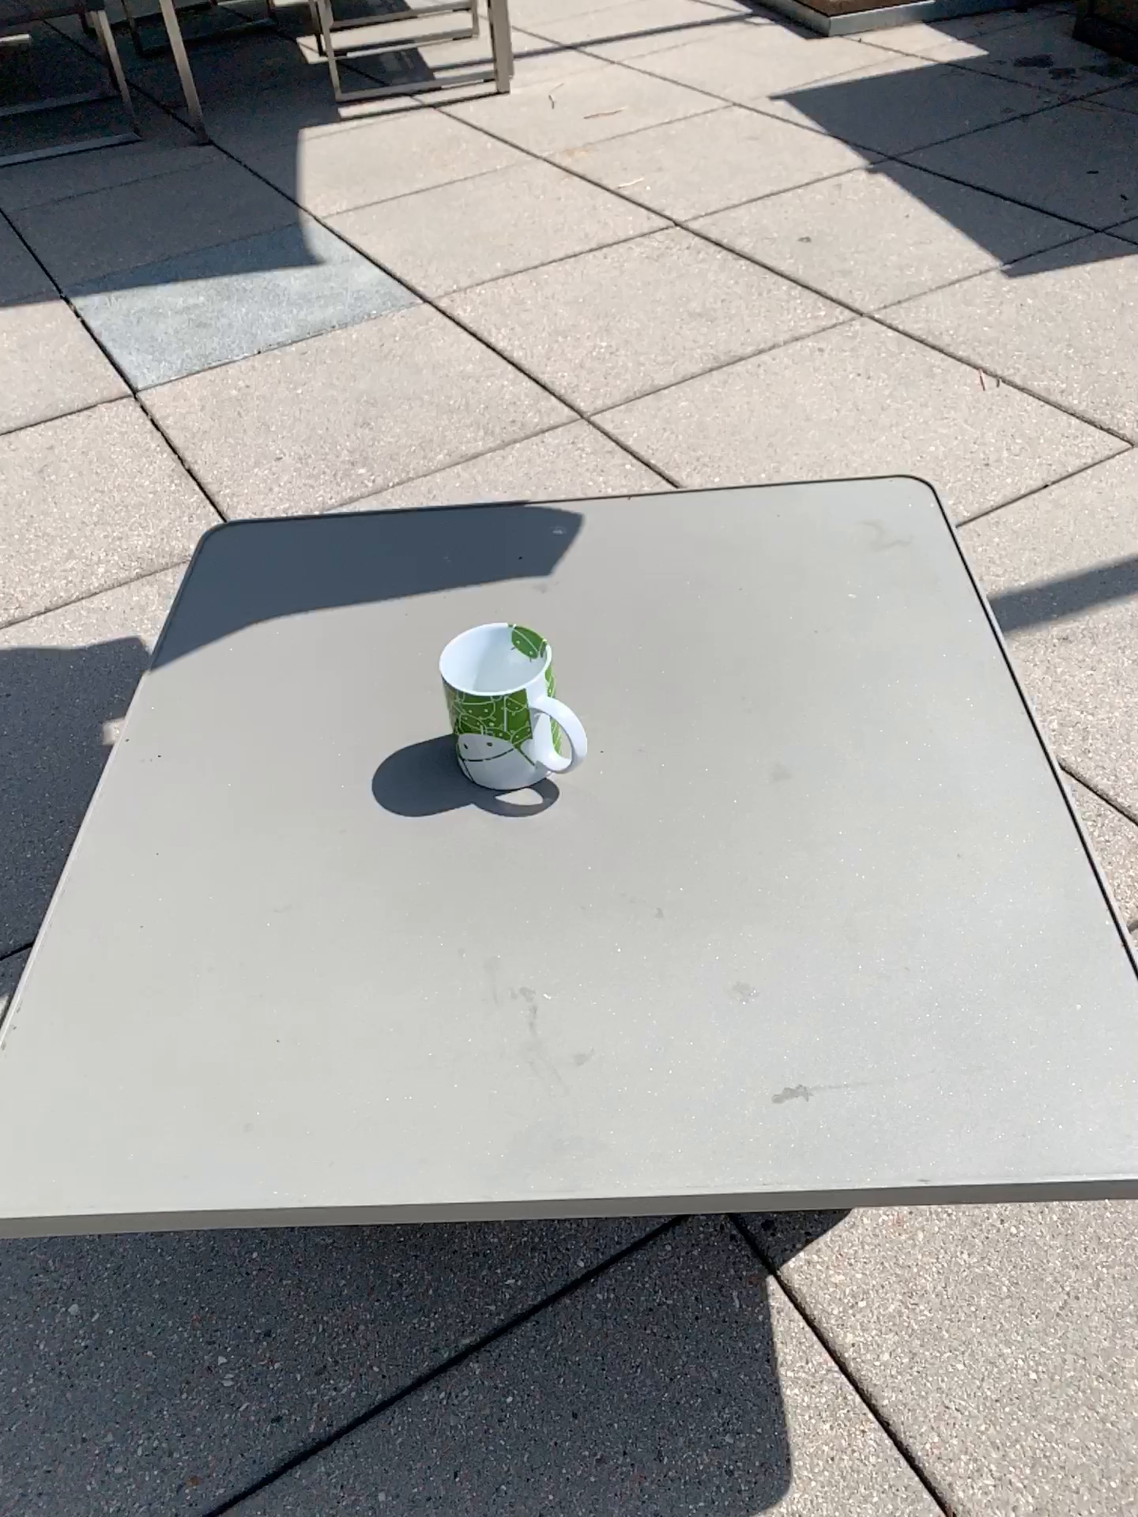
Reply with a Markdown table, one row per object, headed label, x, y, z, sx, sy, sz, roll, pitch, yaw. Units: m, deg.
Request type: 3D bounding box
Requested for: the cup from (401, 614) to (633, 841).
| label | x | y | z | sx | sy | sz | roll | pitch | yaw |
| --- | --- | --- | --- | --- | --- | --- | --- | --- | --- |
| cup | -0.033 | -0.024 | 0.801 | 0.120 | 0.090 | 0.090 | 20 | 49 | 26 |
